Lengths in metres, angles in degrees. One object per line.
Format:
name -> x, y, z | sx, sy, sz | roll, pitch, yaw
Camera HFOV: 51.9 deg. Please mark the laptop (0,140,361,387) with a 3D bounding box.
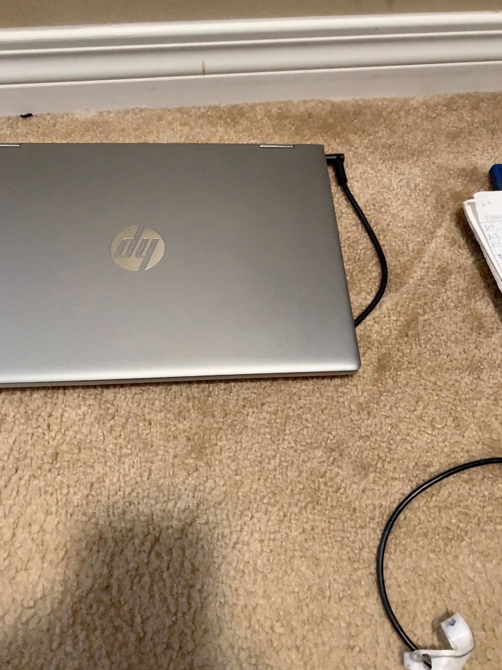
laptop -> -0.086, -0.070, 0.401 | 0.319, 0.001, 0.222 | -1, 62, -7
